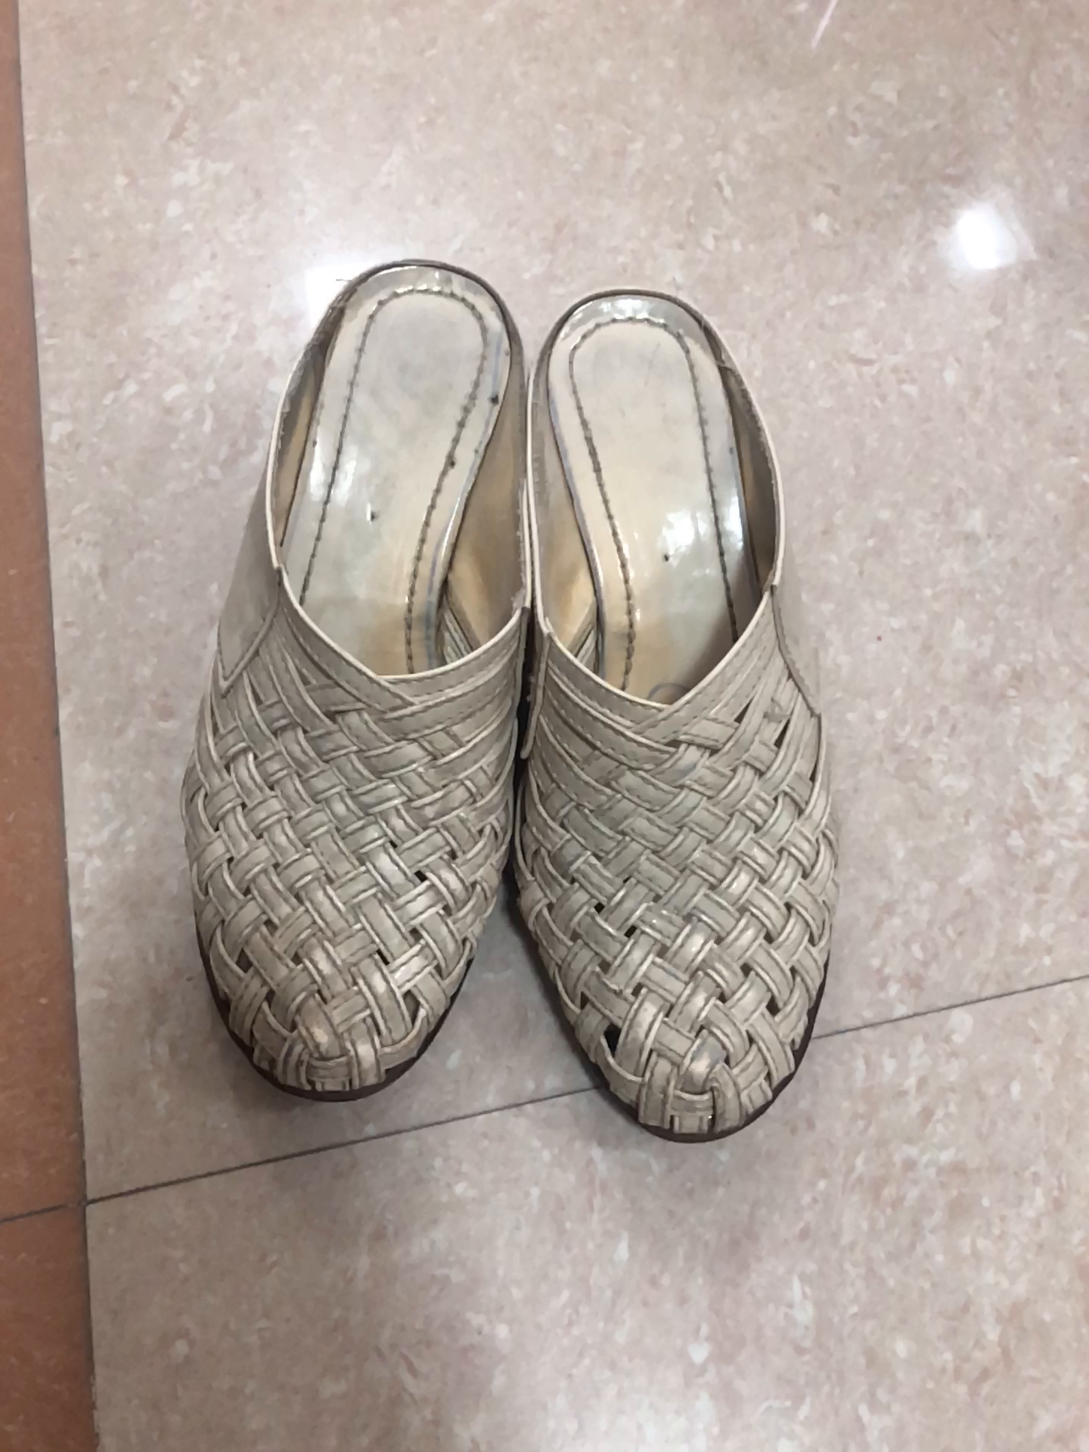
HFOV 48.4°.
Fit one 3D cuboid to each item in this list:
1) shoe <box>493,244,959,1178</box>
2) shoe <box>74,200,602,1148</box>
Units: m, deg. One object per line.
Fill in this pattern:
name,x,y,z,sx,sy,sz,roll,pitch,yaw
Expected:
shoe,0.037,-0.007,0.333,0.090,0.080,0.240,-3,68,0
shoe,-0.041,-0.018,0.332,0.090,0.080,0.240,6,68,1
